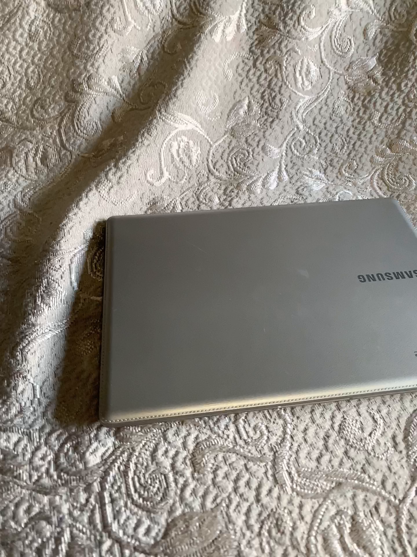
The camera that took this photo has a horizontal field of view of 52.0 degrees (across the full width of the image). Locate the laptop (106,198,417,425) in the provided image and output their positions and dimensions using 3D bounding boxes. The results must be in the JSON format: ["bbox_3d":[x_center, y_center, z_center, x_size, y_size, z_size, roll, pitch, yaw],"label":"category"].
[{"bbox_3d":[0.056,0.008,0.333,0.264,0.005,0.176,-5,53,-7],"label":"laptop"}]
